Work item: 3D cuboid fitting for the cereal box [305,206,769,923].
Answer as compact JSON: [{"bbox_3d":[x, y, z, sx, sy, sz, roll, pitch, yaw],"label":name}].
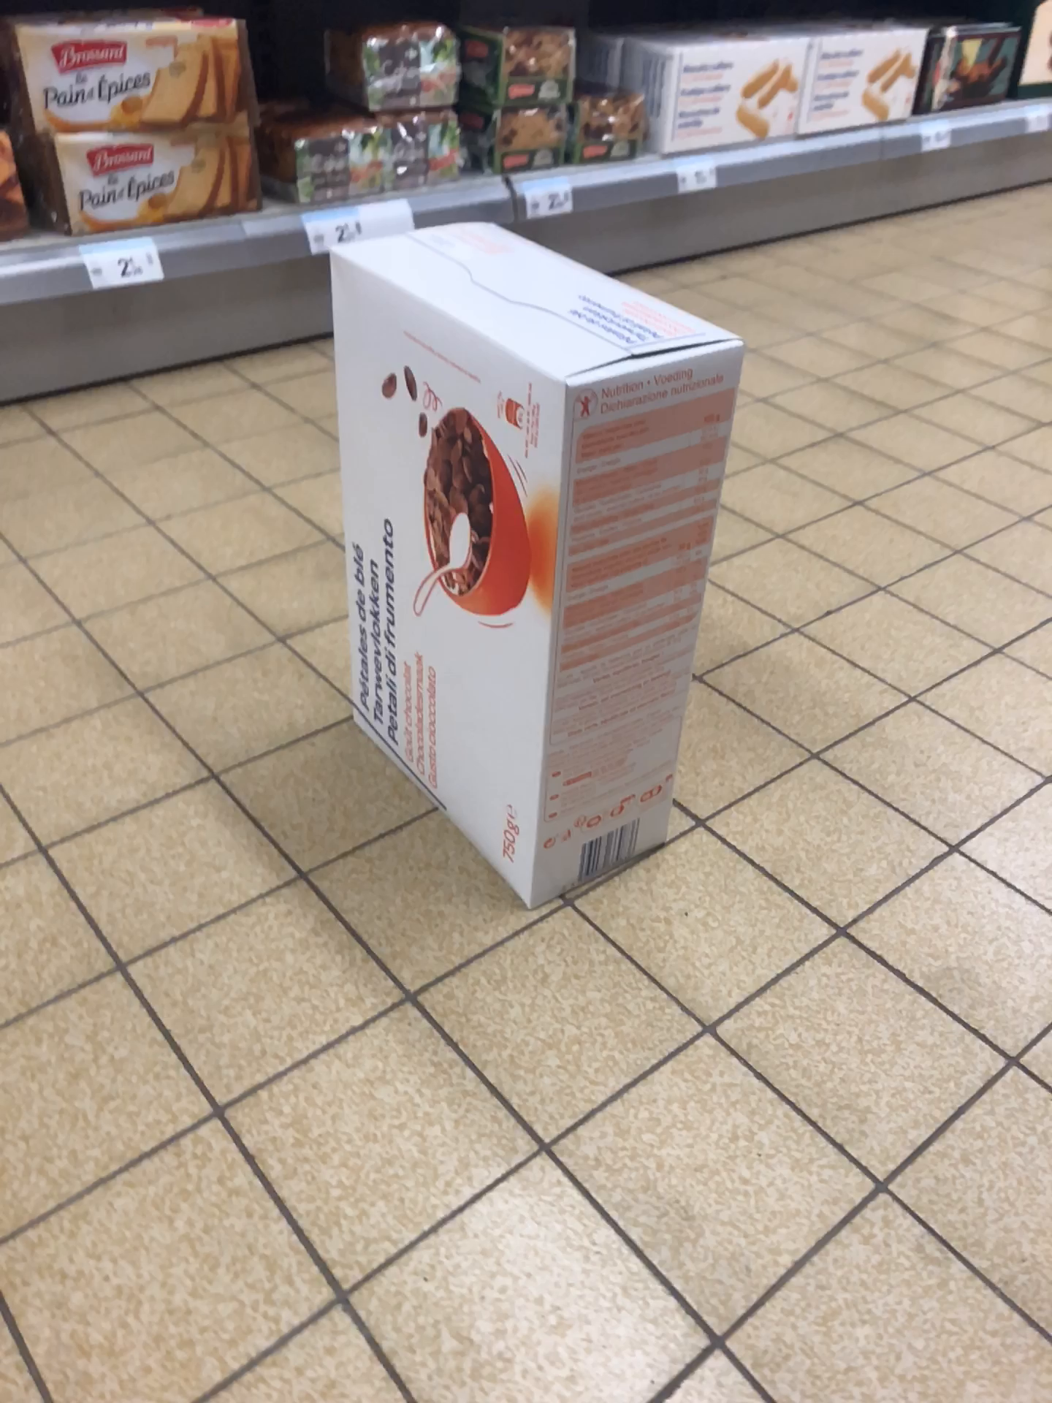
[{"bbox_3d":[-0.010,-0.071,0.588,0.100,0.288,0.200,-23,43,-31],"label":"cereal box"}]
